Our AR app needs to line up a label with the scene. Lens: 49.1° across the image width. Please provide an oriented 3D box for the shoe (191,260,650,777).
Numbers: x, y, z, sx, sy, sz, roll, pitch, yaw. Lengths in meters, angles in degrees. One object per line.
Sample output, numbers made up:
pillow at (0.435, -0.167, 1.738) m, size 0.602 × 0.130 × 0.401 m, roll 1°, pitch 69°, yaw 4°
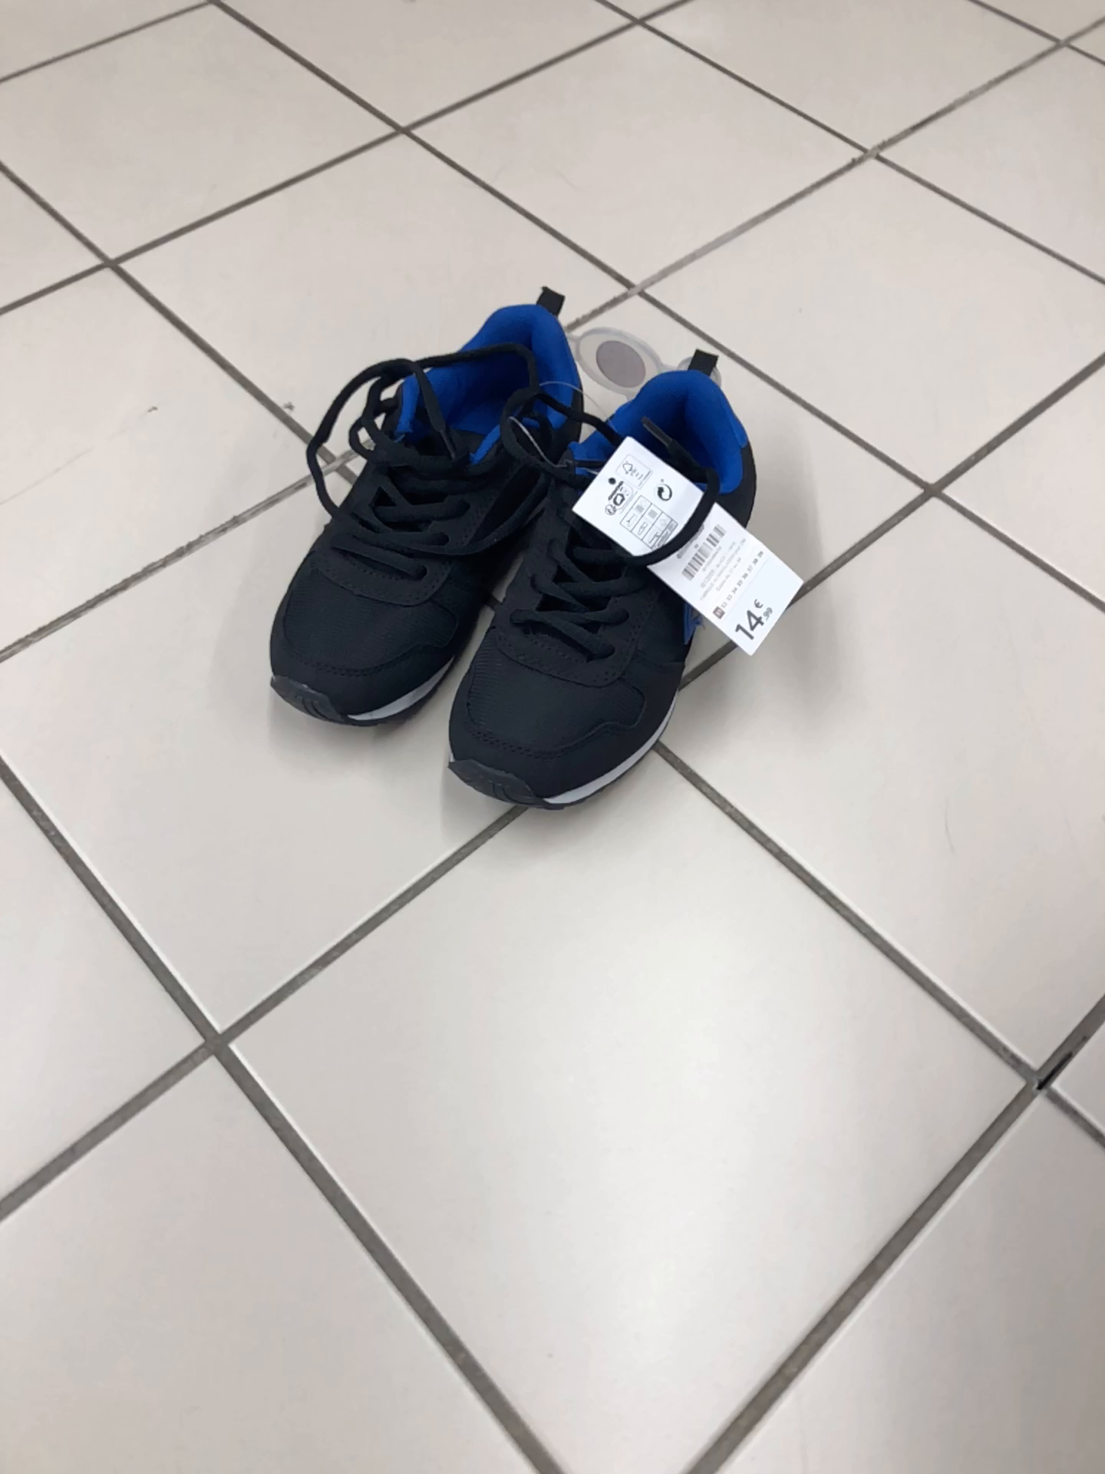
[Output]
shoe at (-0.043, -0.098, 0.498) m, size 0.085 × 0.061 × 0.218 m, roll 22°, pitch 58°, yaw 12°

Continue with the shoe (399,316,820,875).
shoe at (0.028, -0.064, 0.478) m, size 0.085 × 0.071 × 0.213 m, roll 20°, pitch 58°, yaw 11°
